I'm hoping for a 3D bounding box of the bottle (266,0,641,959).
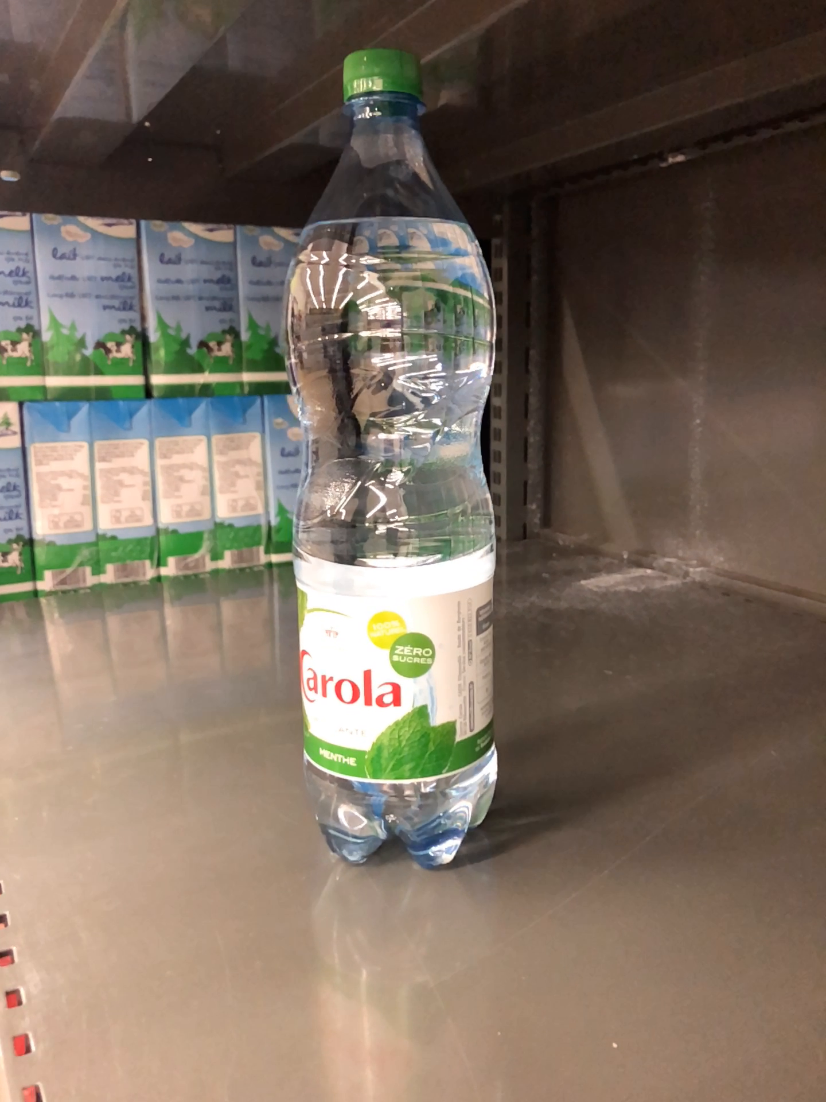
[{"bbox_3d":[0.019,-0.031,0.374,0.100,0.339,0.100,-1,11,0],"label":"bottle"}]
